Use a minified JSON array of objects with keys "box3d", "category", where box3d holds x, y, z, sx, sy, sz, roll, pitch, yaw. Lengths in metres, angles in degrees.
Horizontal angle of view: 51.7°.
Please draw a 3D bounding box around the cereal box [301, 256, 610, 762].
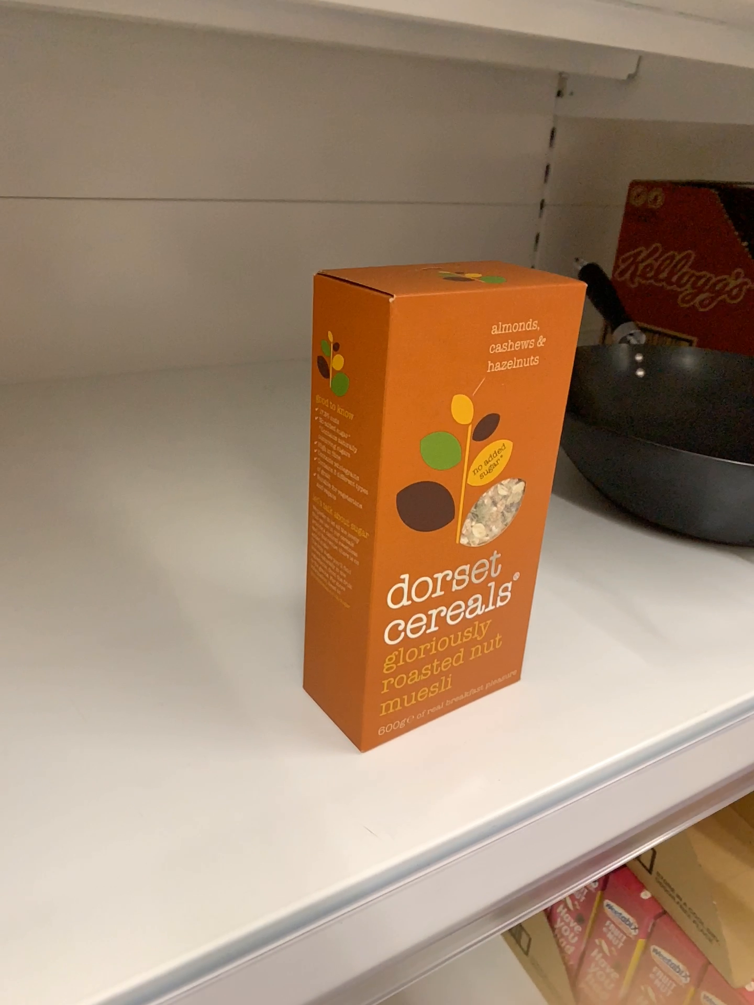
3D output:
[{"box3d":[0.032,0.001,0.391,0.120,0.228,0.060,-14,31,-34],"category":"cereal box"}]
